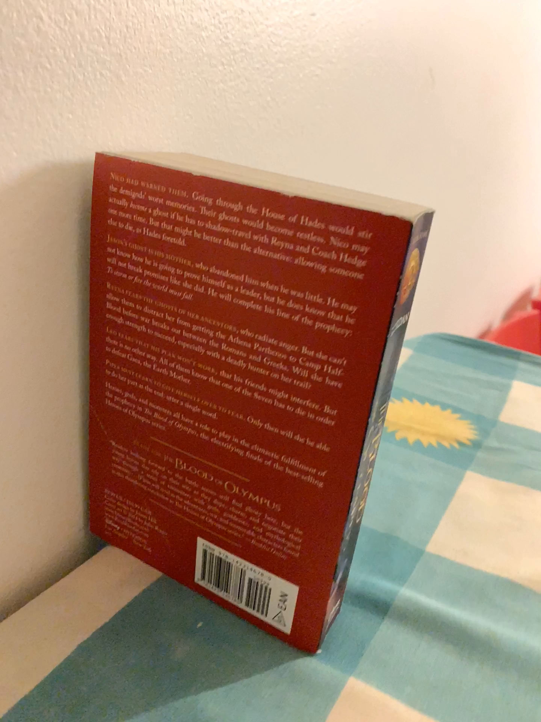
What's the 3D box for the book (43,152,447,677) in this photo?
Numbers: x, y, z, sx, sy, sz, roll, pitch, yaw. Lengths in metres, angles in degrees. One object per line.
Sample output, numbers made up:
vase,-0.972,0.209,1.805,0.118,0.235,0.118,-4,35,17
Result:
book,-0.024,0.014,0.245,0.150,0.180,0.051,18,25,27
